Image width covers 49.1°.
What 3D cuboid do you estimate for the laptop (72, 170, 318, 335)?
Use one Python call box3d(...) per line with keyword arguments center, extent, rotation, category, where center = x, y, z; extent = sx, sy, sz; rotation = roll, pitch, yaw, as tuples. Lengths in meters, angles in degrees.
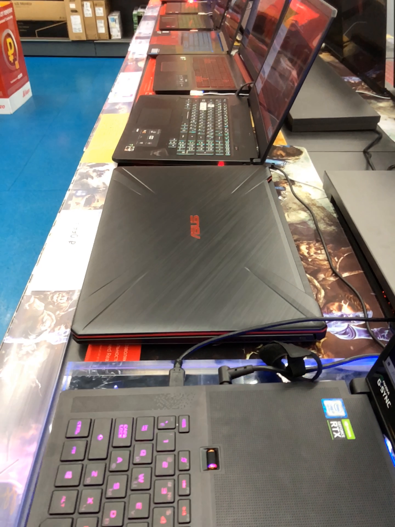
box3d(center=(-0.007, -0.046, 0.599), extent=(0.252, 0.002, 0.390), rotation=(0, 37, -3), category="laptop")
